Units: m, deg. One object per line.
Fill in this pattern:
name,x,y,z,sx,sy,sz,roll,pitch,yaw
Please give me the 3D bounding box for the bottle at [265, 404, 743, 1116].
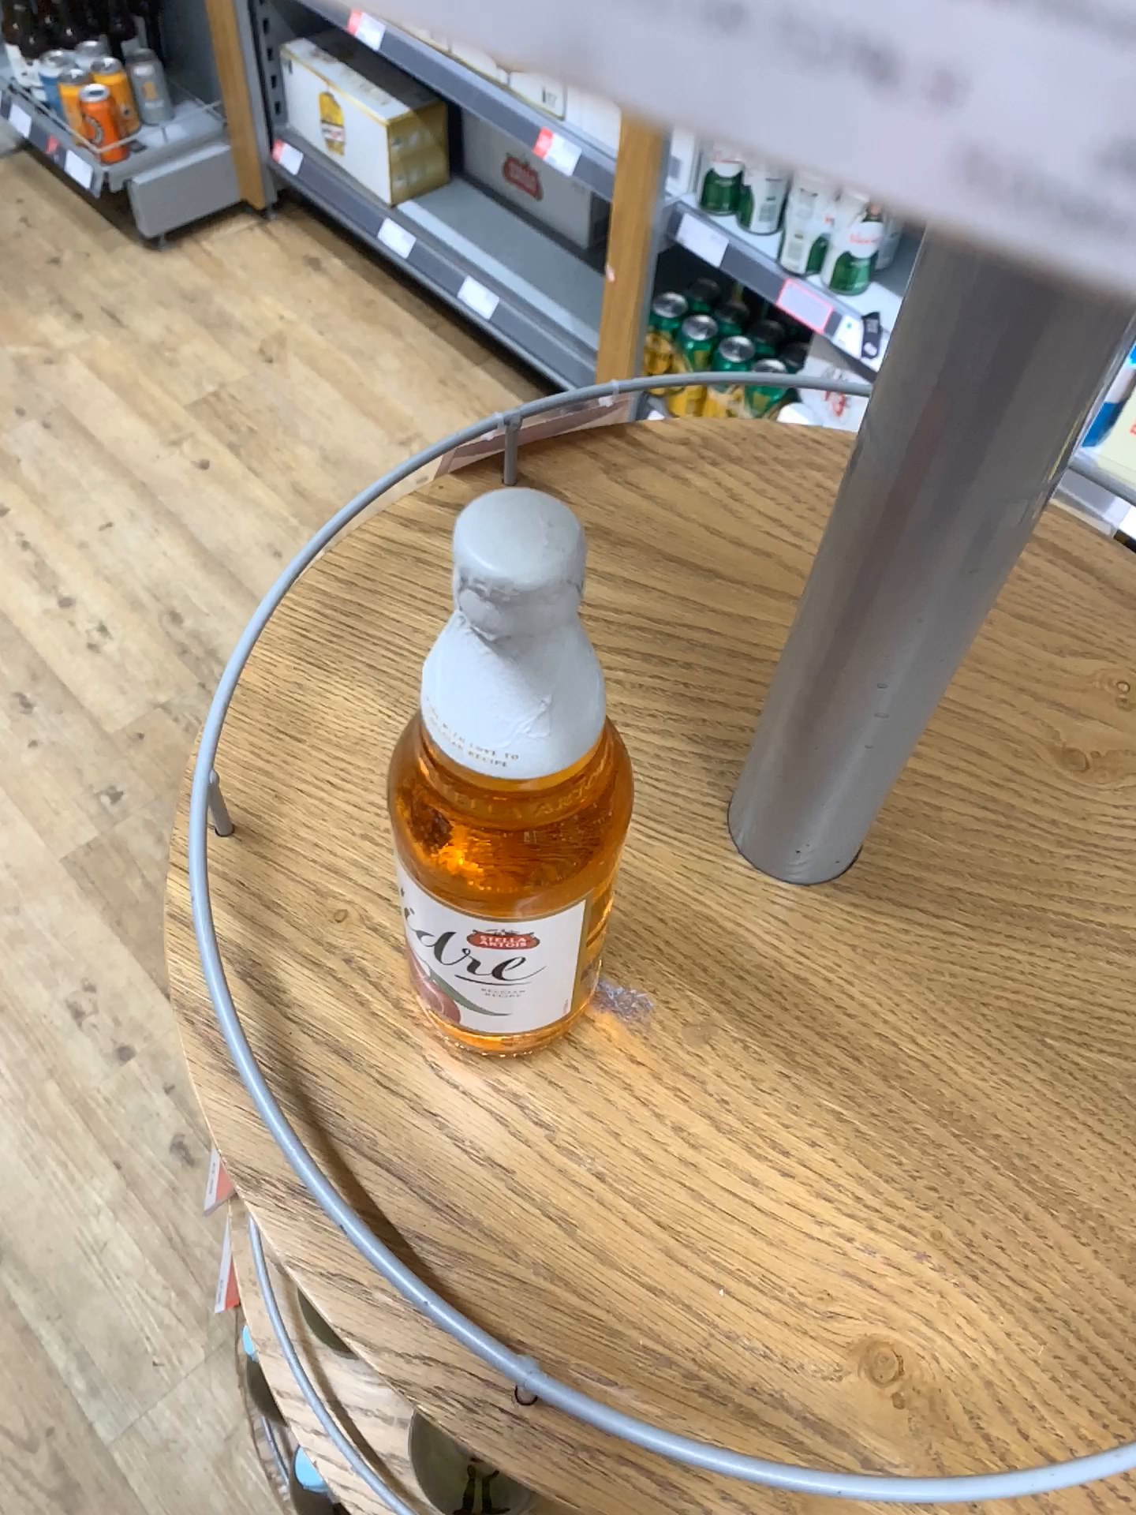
bottle,-0.019,0.020,0.331,0.070,0.218,0.069,2,56,-3
